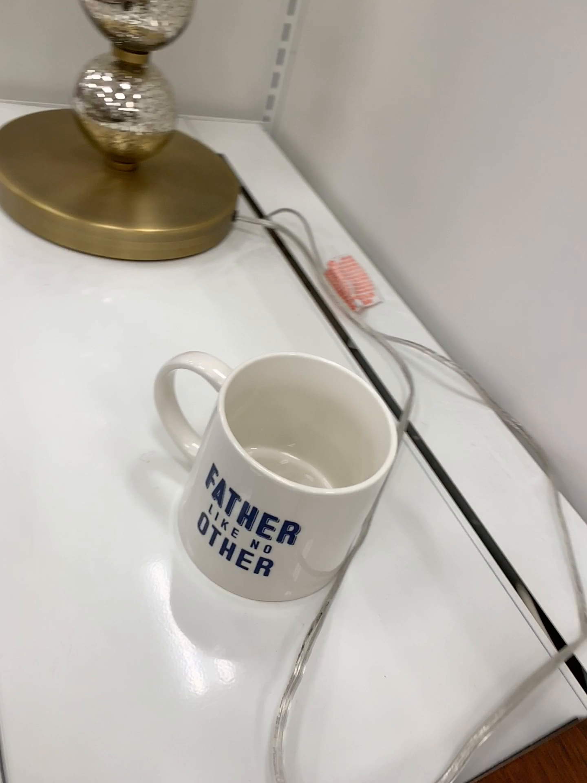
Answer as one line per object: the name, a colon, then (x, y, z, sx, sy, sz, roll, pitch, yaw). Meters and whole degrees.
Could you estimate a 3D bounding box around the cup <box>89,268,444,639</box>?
cup: (-0.022, 0.032, 0.377, 0.160, 0.119, 0.120, 34, 44, 14)
